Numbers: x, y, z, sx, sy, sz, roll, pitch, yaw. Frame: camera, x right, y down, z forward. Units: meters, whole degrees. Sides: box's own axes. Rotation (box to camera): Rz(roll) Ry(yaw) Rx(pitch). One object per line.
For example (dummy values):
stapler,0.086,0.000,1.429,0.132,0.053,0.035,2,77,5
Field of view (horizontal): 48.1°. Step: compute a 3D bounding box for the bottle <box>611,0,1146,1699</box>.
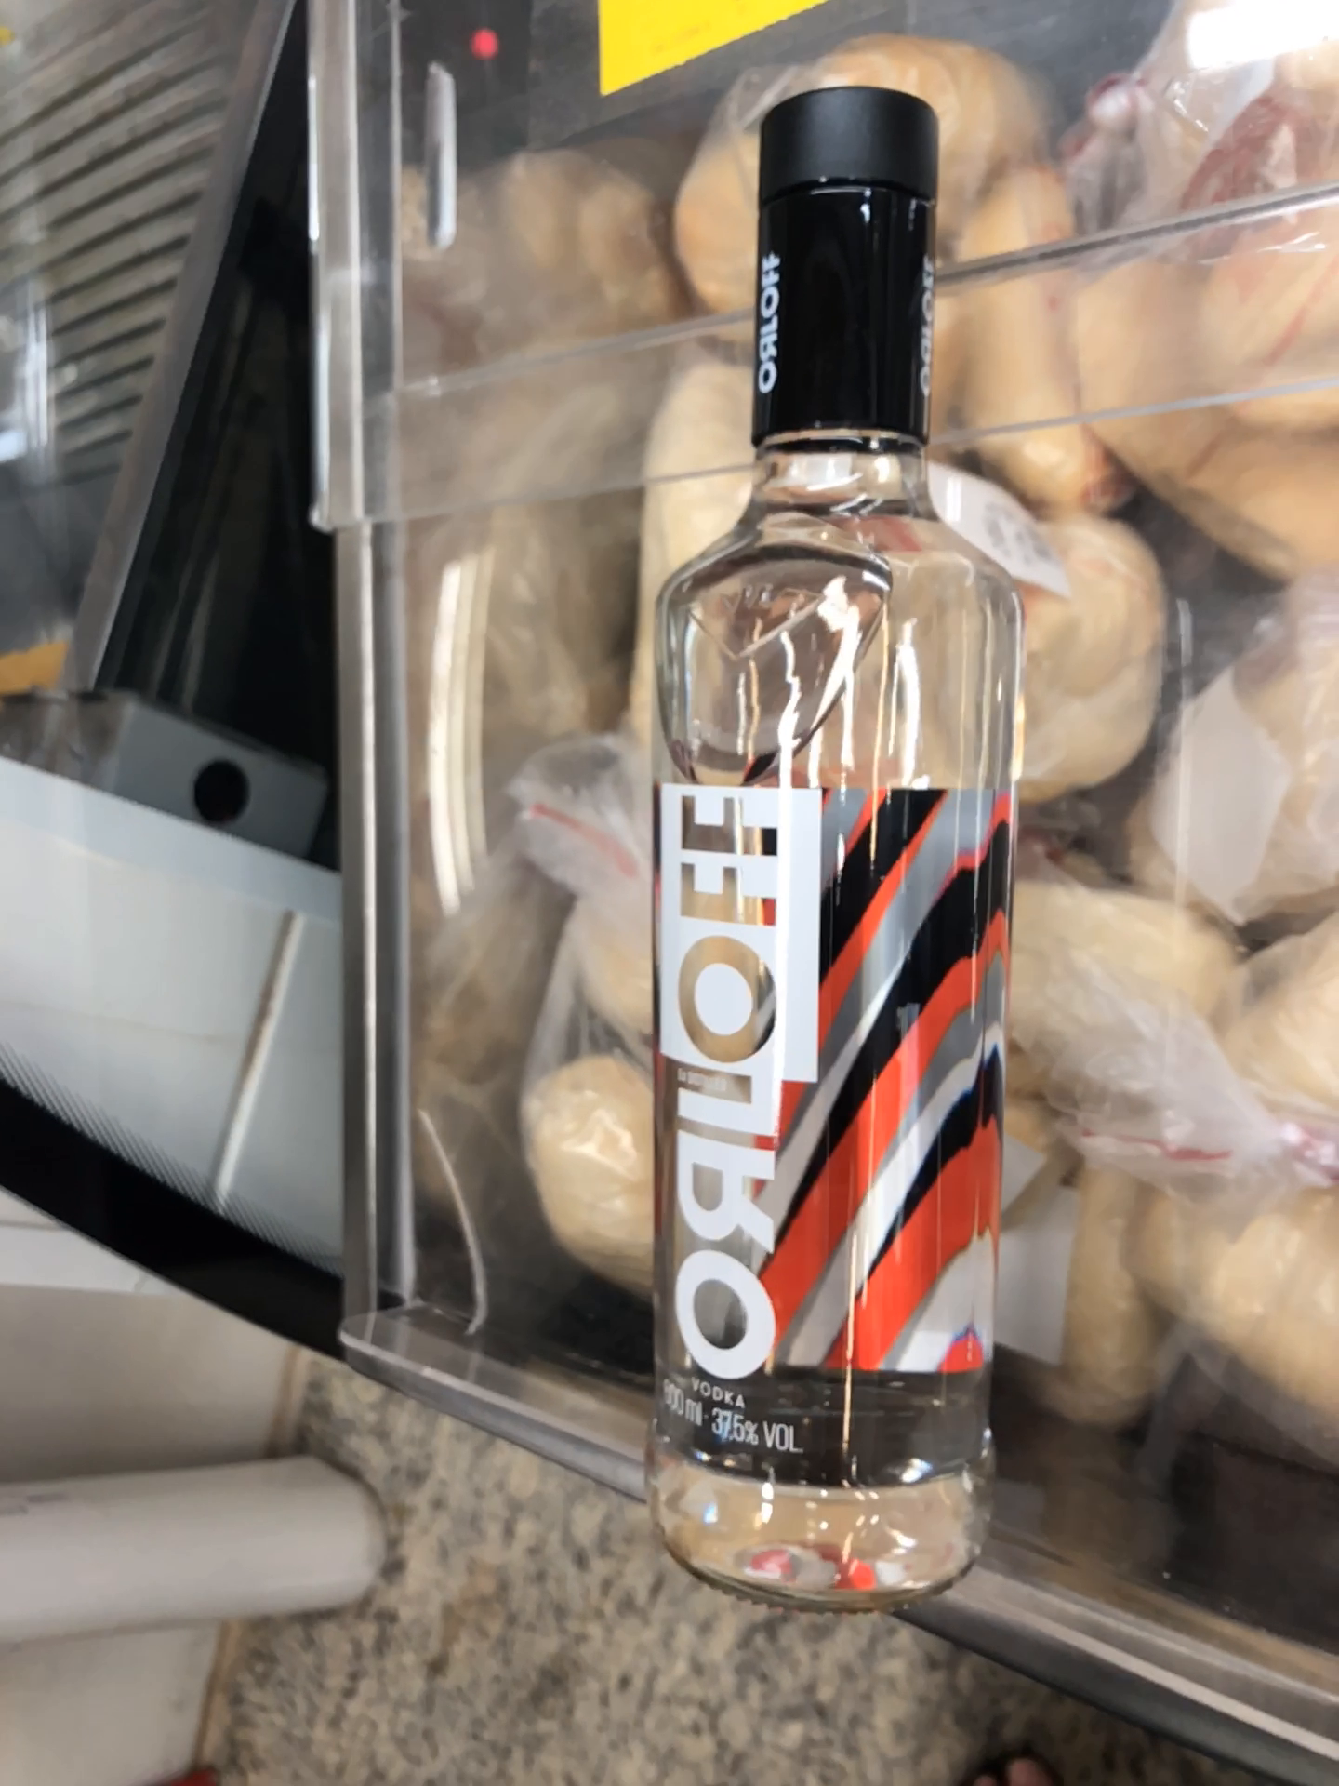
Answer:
bottle,0.039,-0.018,0.289,0.070,0.070,0.300,5,97,42
